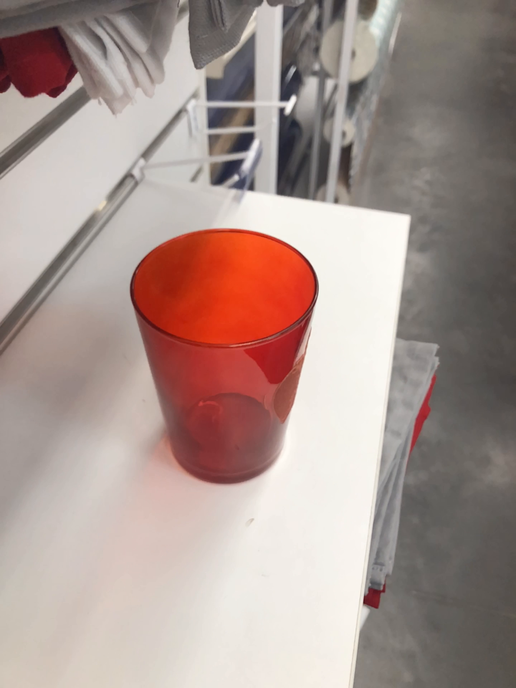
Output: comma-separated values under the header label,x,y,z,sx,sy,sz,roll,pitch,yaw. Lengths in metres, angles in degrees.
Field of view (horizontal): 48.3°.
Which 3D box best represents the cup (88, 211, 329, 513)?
label,x,y,z,sx,sy,sz,roll,pitch,yaw
cup,-0.020,0.011,0.314,0.091,0.120,0.092,1,44,-1
